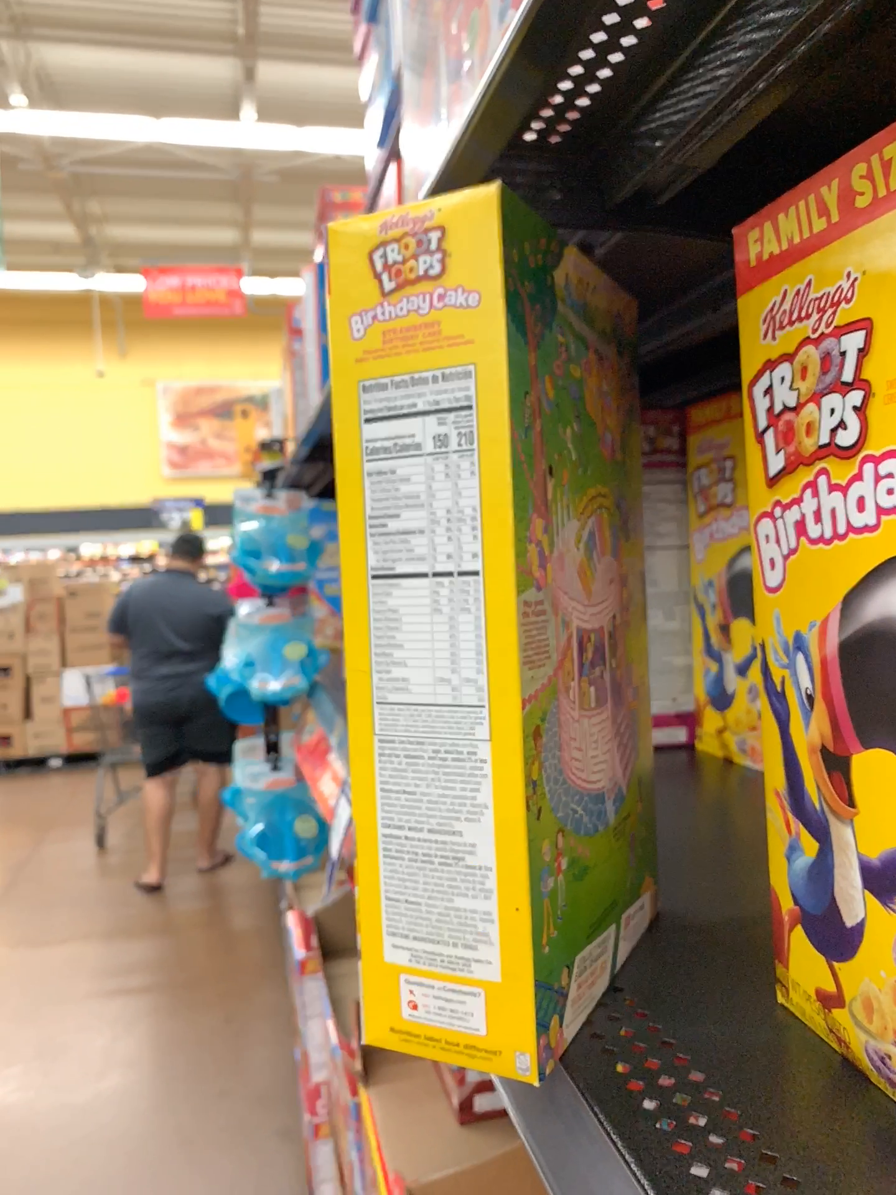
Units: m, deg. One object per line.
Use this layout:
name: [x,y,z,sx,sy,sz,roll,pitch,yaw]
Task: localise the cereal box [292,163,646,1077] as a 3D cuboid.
cereal box: [0.025,0.005,0.444,0.080,0.330,0.200,-1,3,26]
